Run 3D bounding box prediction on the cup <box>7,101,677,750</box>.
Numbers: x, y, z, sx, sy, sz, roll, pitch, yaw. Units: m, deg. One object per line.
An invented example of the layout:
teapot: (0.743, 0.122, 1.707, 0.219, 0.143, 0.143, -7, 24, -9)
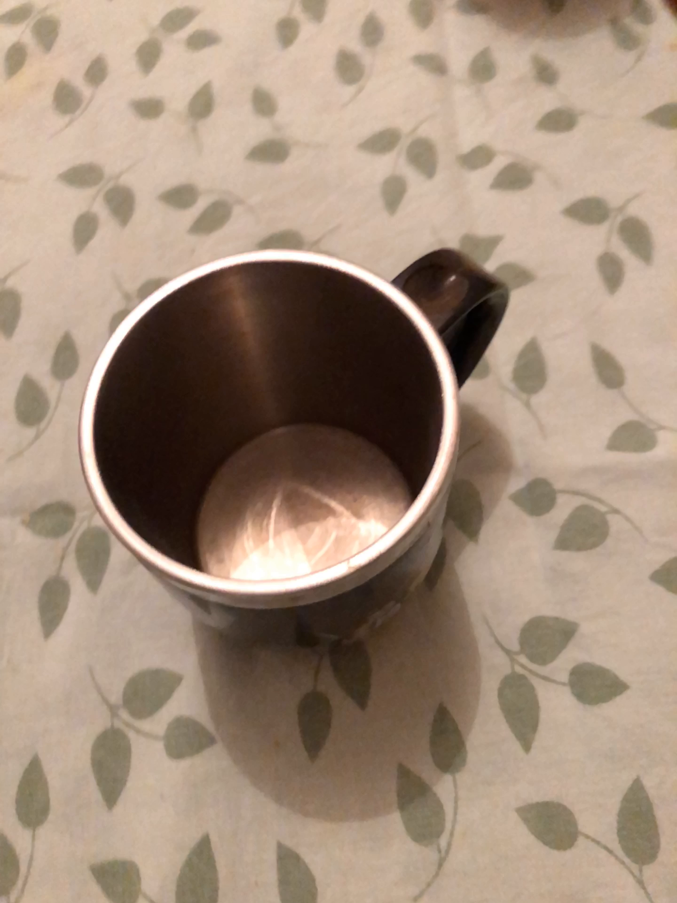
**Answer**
cup: (0.006, 0.003, 0.226, 0.090, 0.120, 0.130, 35, 73, 15)
